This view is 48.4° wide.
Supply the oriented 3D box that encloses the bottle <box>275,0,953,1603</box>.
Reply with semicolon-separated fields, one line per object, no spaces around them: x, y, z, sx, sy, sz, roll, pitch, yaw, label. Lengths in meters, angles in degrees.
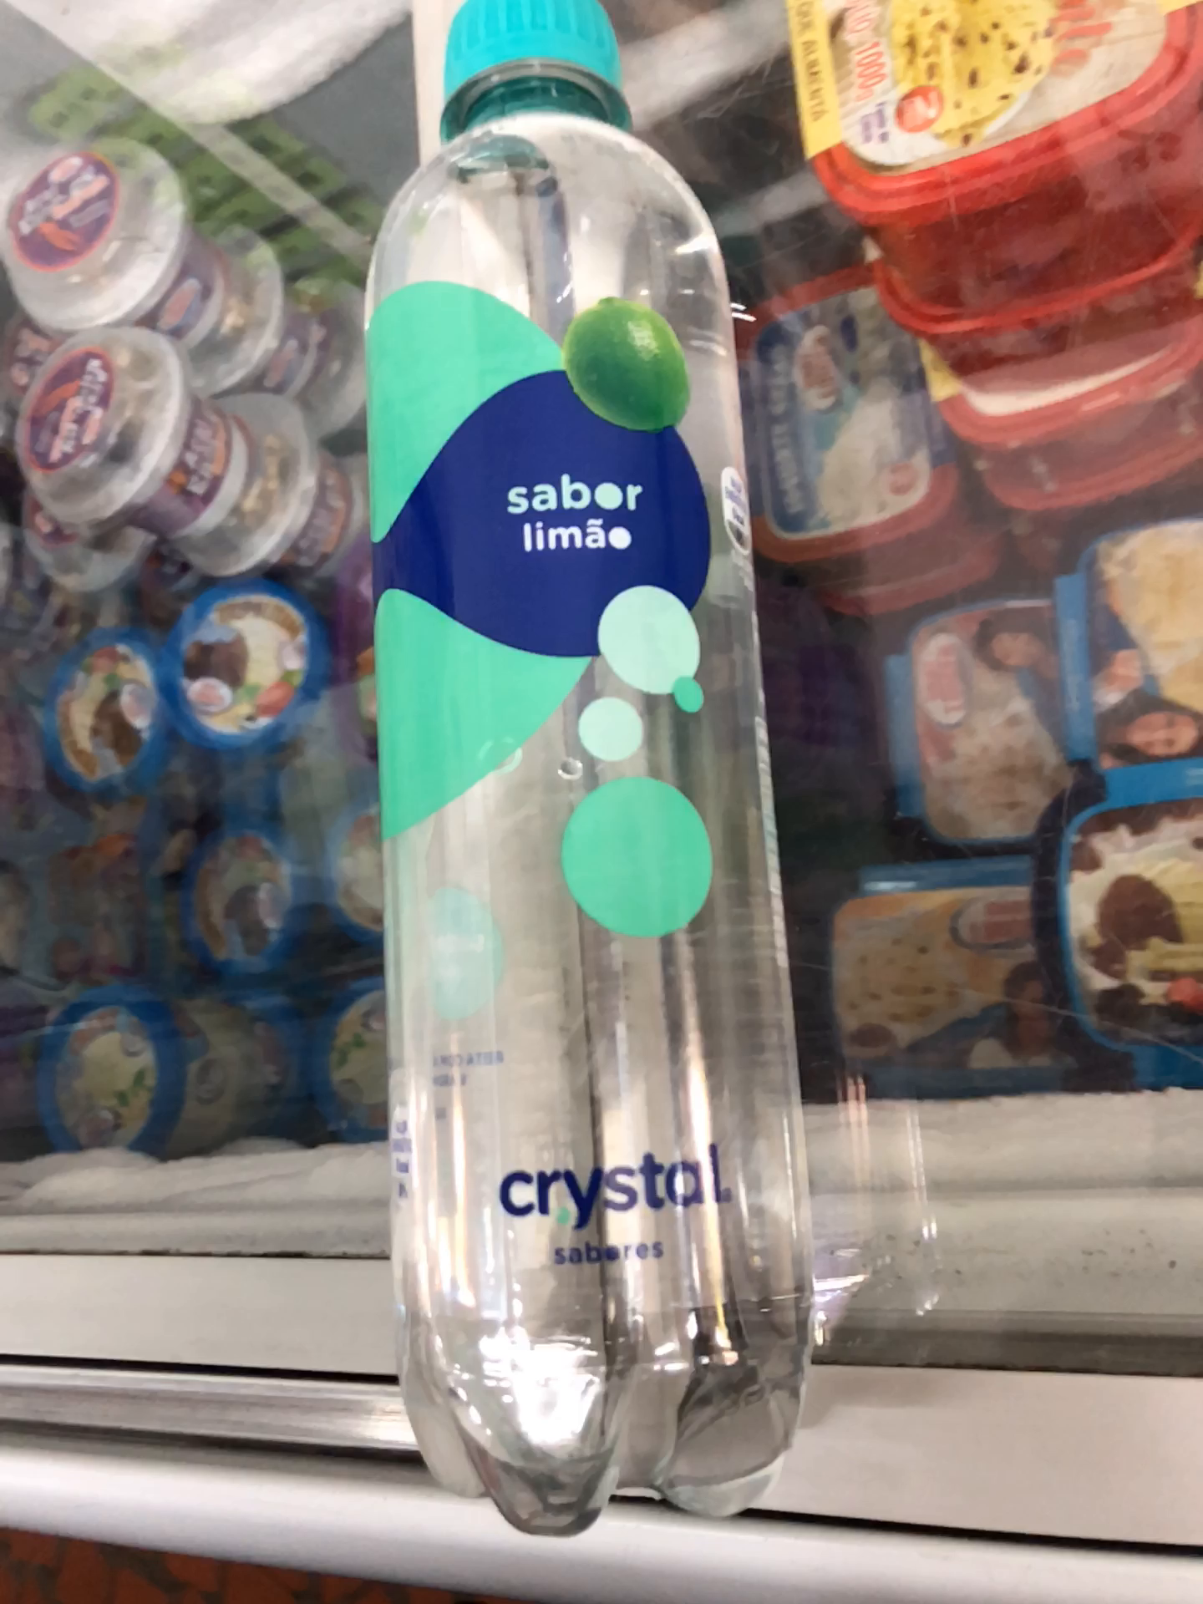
-0.004;-0.005;0.206;0.070;0.070;0.240;-4;83;-5;bottle
